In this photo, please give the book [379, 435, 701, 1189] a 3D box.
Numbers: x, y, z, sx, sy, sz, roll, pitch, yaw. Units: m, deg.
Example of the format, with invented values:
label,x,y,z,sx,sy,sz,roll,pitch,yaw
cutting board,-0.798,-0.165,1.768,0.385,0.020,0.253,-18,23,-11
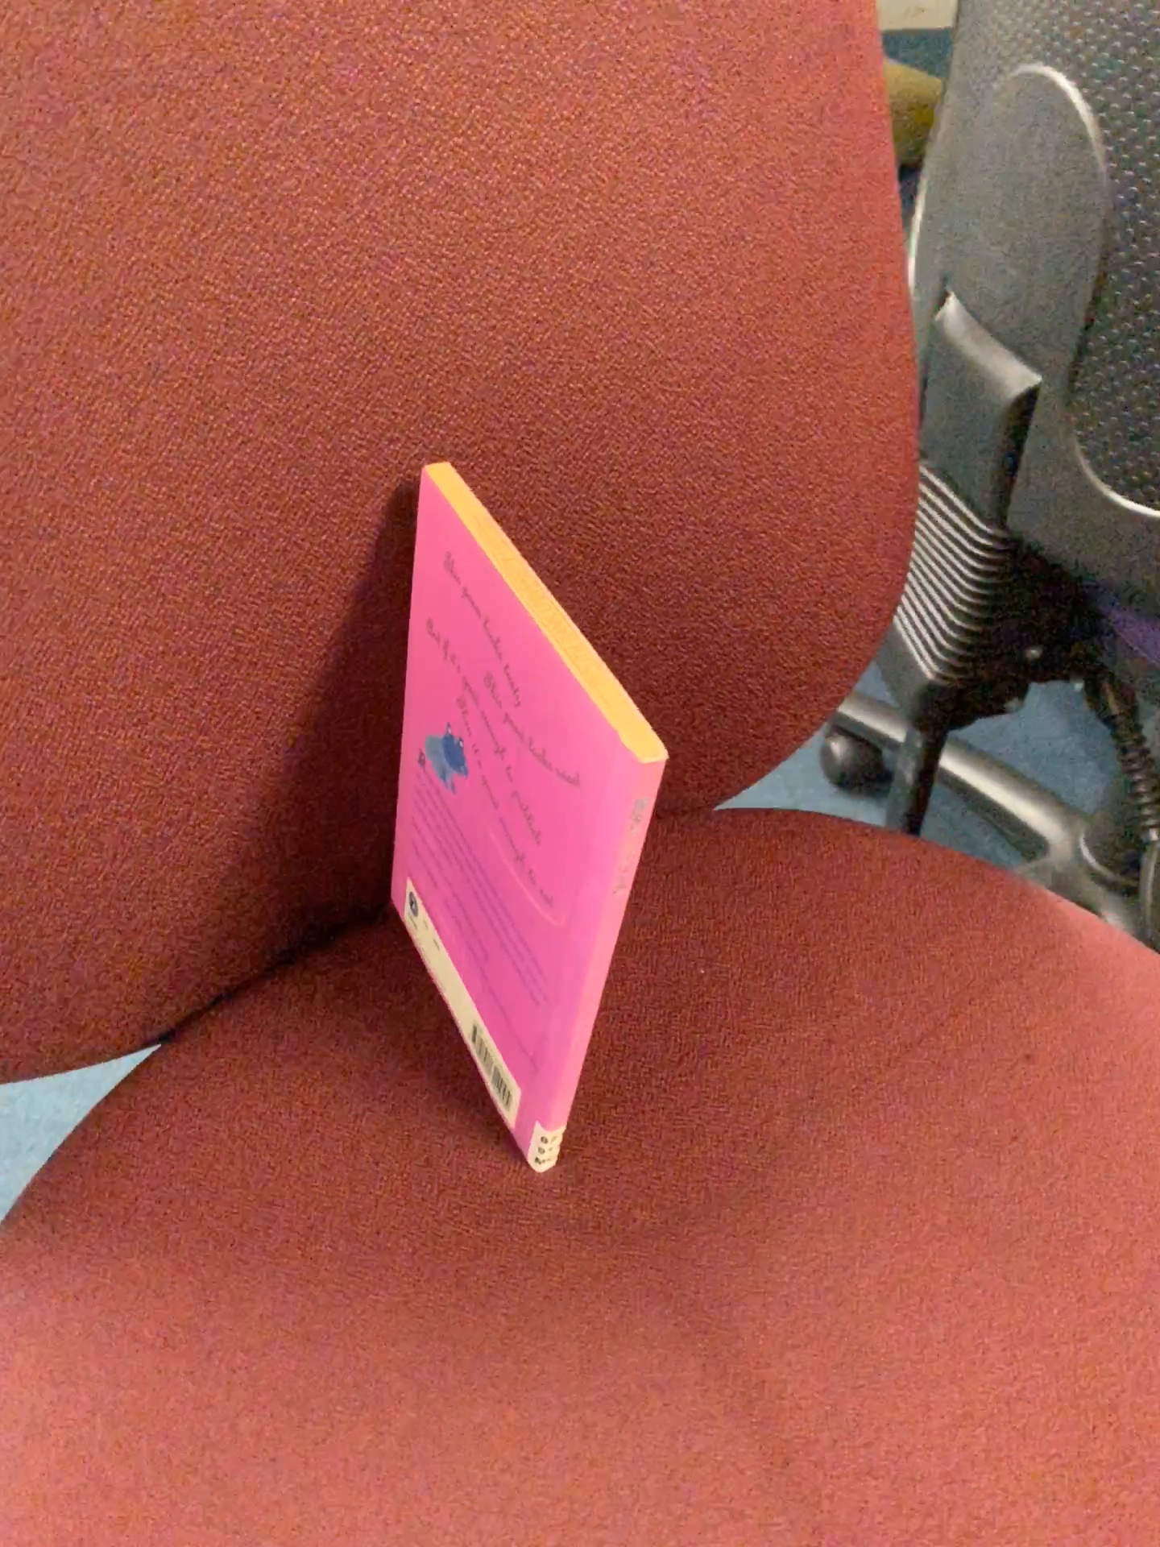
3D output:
label,x,y,z,sx,sy,sz,roll,pitch,yaw
book,-0.026,0.017,0.367,0.017,0.189,0.141,-15,48,-25
